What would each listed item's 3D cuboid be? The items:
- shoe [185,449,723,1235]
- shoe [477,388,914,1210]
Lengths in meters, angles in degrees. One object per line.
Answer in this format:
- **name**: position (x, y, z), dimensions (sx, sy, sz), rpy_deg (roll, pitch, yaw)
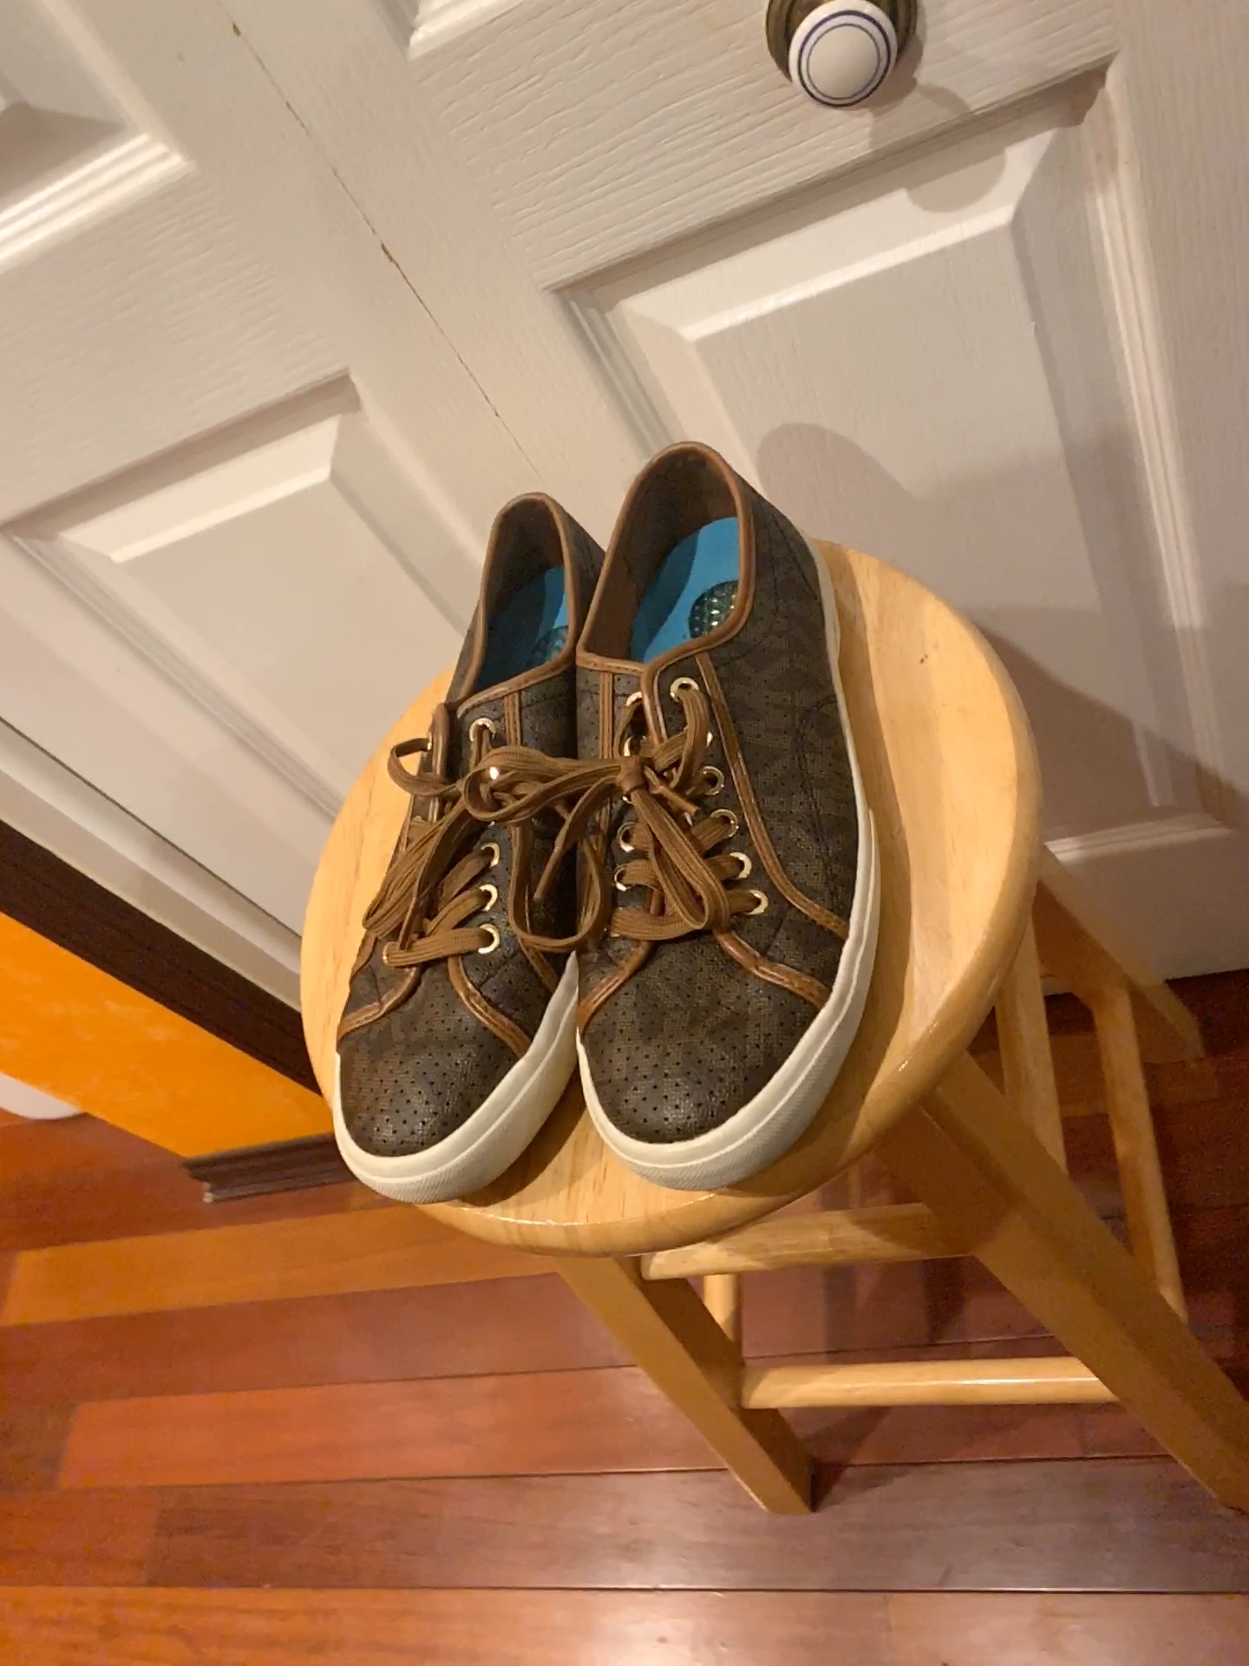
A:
- **shoe**: position (-0.046, -0.002, 0.464), dimensions (0.100, 0.089, 0.260), rpy_deg (-5, 57, 28)
- **shoe**: position (0.033, -0.017, 0.431), dimensions (0.100, 0.080, 0.261), rpy_deg (-10, 55, 25)
